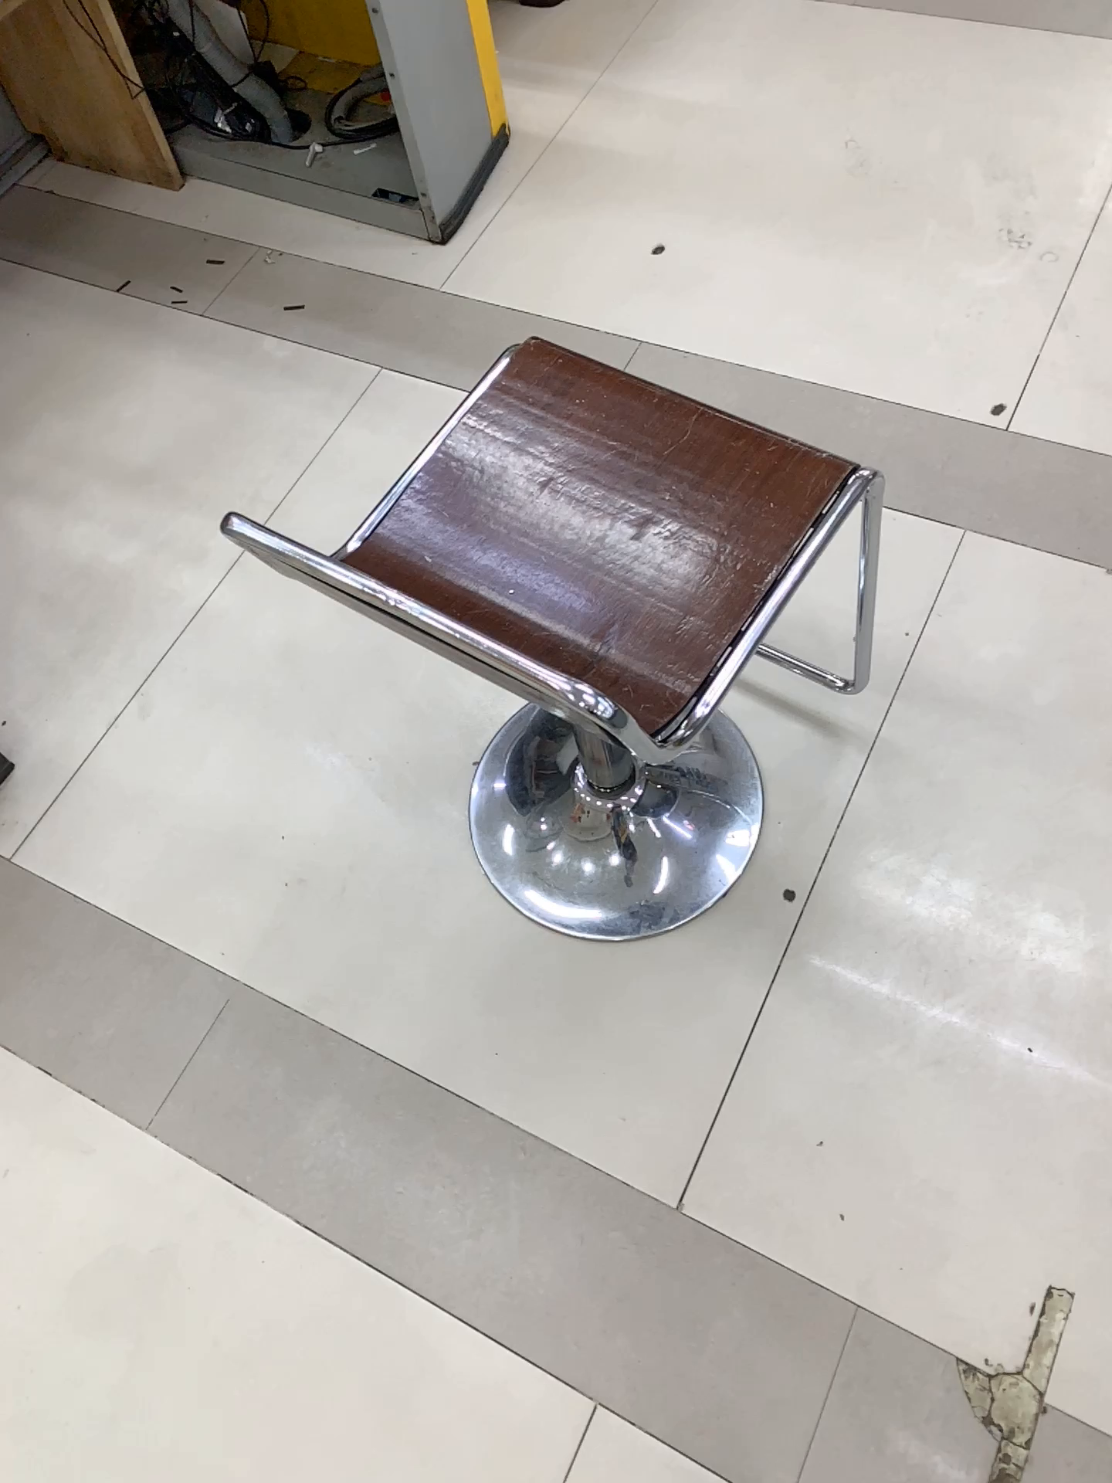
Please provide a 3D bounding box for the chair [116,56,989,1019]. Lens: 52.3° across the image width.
[{"bbox_3d":[0.045,-0.144,1.117,0.441,0.706,0.481,28,68,22],"label":"chair"}]
